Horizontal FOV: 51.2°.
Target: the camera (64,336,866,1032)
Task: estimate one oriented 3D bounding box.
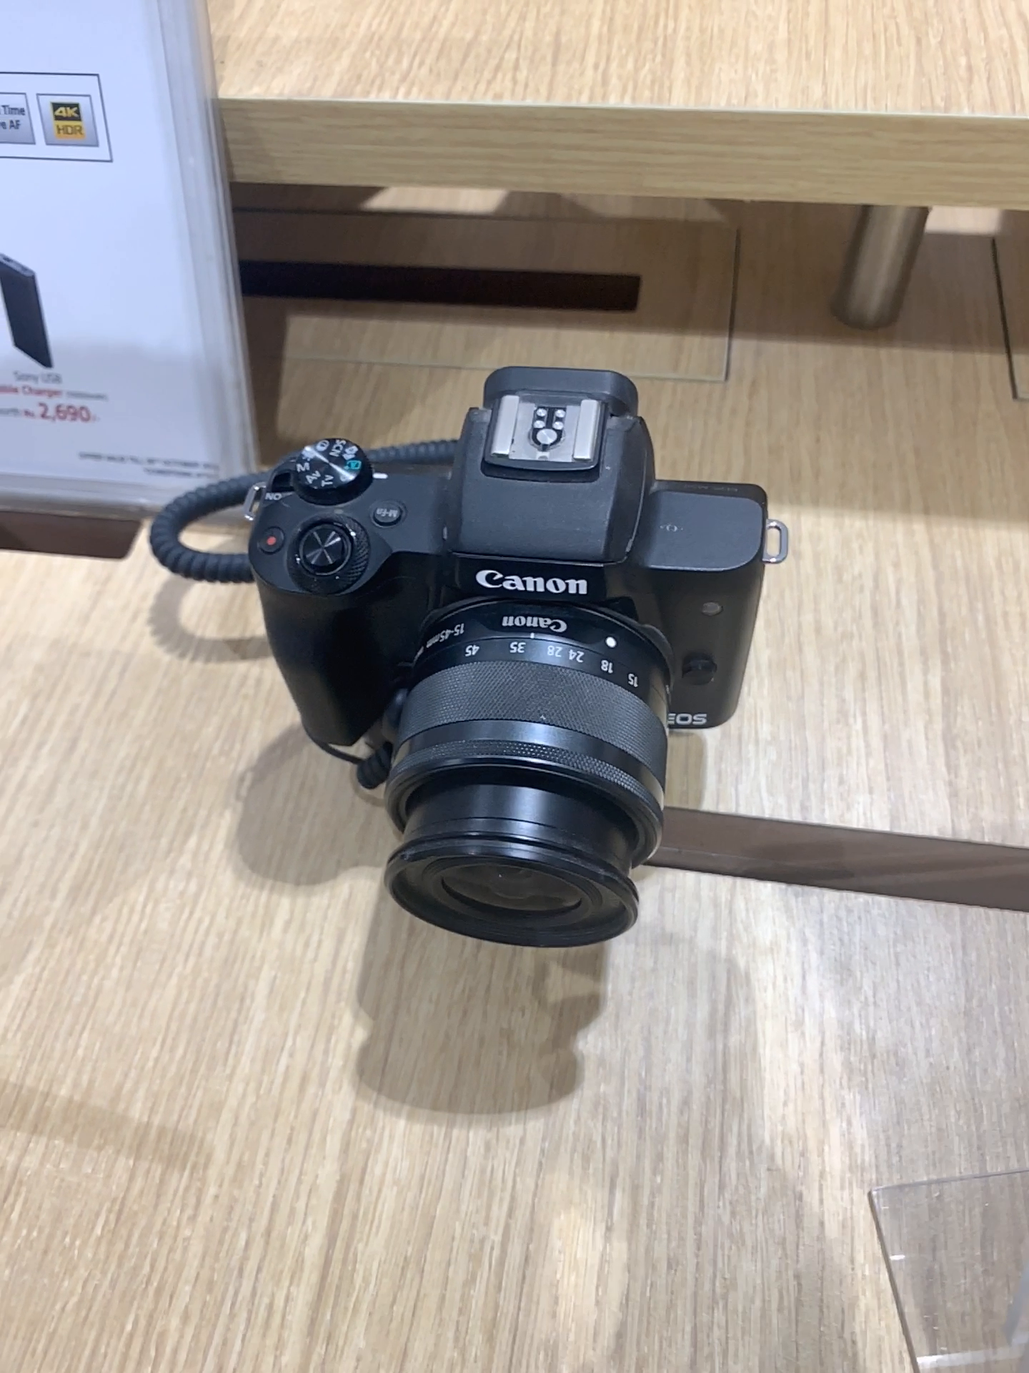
[{"bbox_3d":[-0.001,0.002,0.227,0.120,0.100,0.100,4,56,7],"label":"camera"}]
